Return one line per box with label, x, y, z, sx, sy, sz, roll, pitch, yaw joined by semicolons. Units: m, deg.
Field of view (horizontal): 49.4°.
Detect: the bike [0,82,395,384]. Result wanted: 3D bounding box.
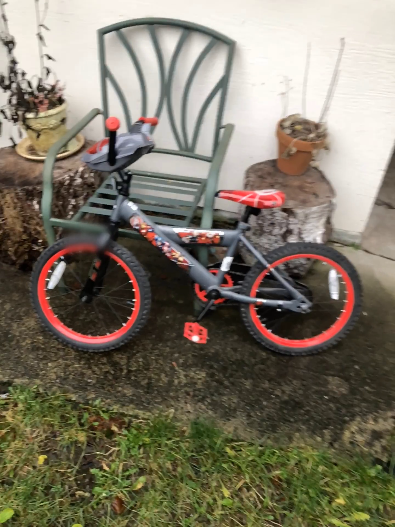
bike;-0.006;-0.100;1.536;1.199;0.853;0.604;3;40;2
